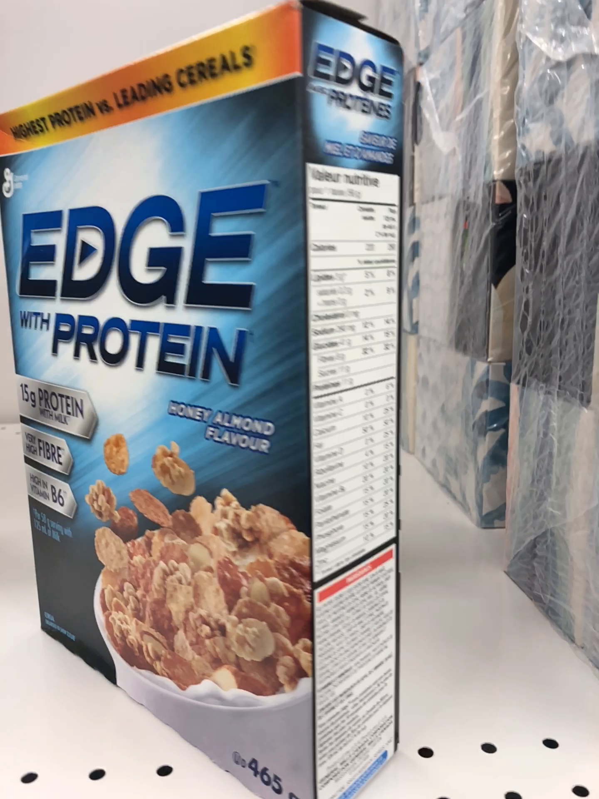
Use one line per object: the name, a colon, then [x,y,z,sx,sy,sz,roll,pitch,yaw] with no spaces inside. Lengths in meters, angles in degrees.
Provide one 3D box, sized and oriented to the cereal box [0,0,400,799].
cereal box: [-0.054,0.008,0.291,0.200,0.279,0.050,9,15,42]
